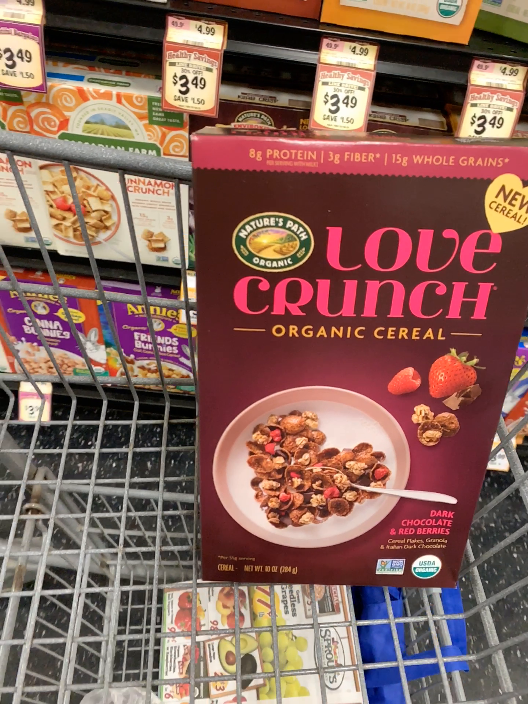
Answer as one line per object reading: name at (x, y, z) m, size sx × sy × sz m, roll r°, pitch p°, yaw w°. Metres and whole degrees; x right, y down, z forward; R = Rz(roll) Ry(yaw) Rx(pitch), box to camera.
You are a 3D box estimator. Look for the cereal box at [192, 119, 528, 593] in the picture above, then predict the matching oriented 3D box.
cereal box at (0.047, 0.016, 0.292) m, size 0.160 × 0.249 × 0.060 m, roll 2°, pitch 27°, yaw -1°
